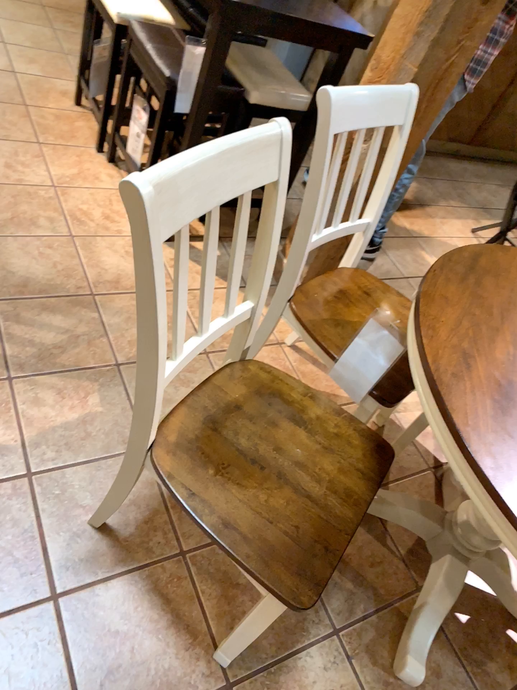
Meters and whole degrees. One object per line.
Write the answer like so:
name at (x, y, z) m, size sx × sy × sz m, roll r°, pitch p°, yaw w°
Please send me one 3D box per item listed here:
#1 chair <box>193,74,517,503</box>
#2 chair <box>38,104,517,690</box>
chair at (0.314, -0.138, 1.473) m, size 0.633 × 0.901 × 0.492 m, roll 45°, pitch 46°, yaw 18°
chair at (0.012, 0.148, 1.047) m, size 0.632 × 0.891 × 0.492 m, roll 38°, pitch 44°, yaw 11°
